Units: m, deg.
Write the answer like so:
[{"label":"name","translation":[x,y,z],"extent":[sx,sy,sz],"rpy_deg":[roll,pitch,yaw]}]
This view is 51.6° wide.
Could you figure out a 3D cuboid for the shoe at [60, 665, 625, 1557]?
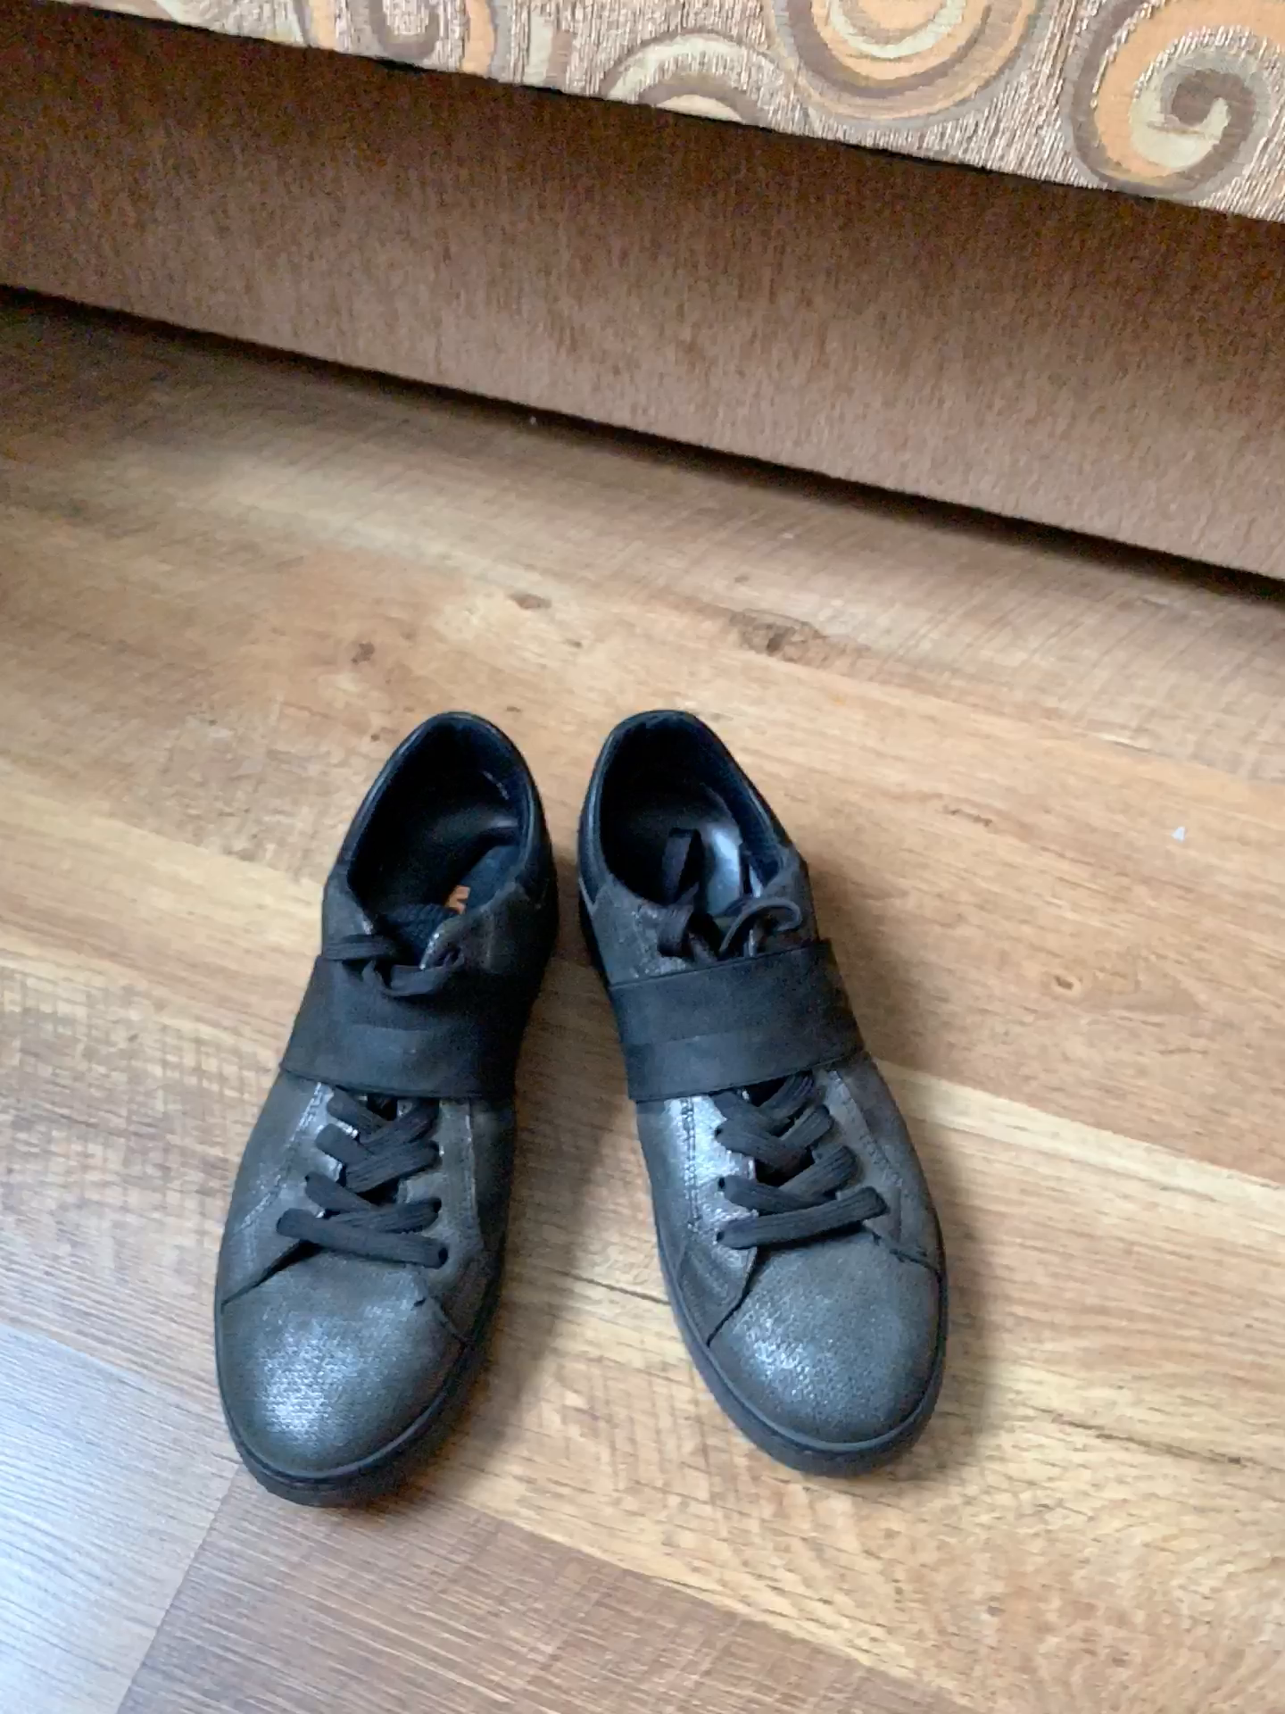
[{"label":"shoe","translation":[-0.074,0.066,0.430],"extent":[0.100,0.090,0.261],"rpy_deg":[7,53,4]}]

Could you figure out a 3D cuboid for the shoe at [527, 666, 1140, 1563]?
[{"label":"shoe","translation":[0.041,0.068,0.436],"extent":[0.100,0.090,0.261],"rpy_deg":[-12,54,-10]}]
